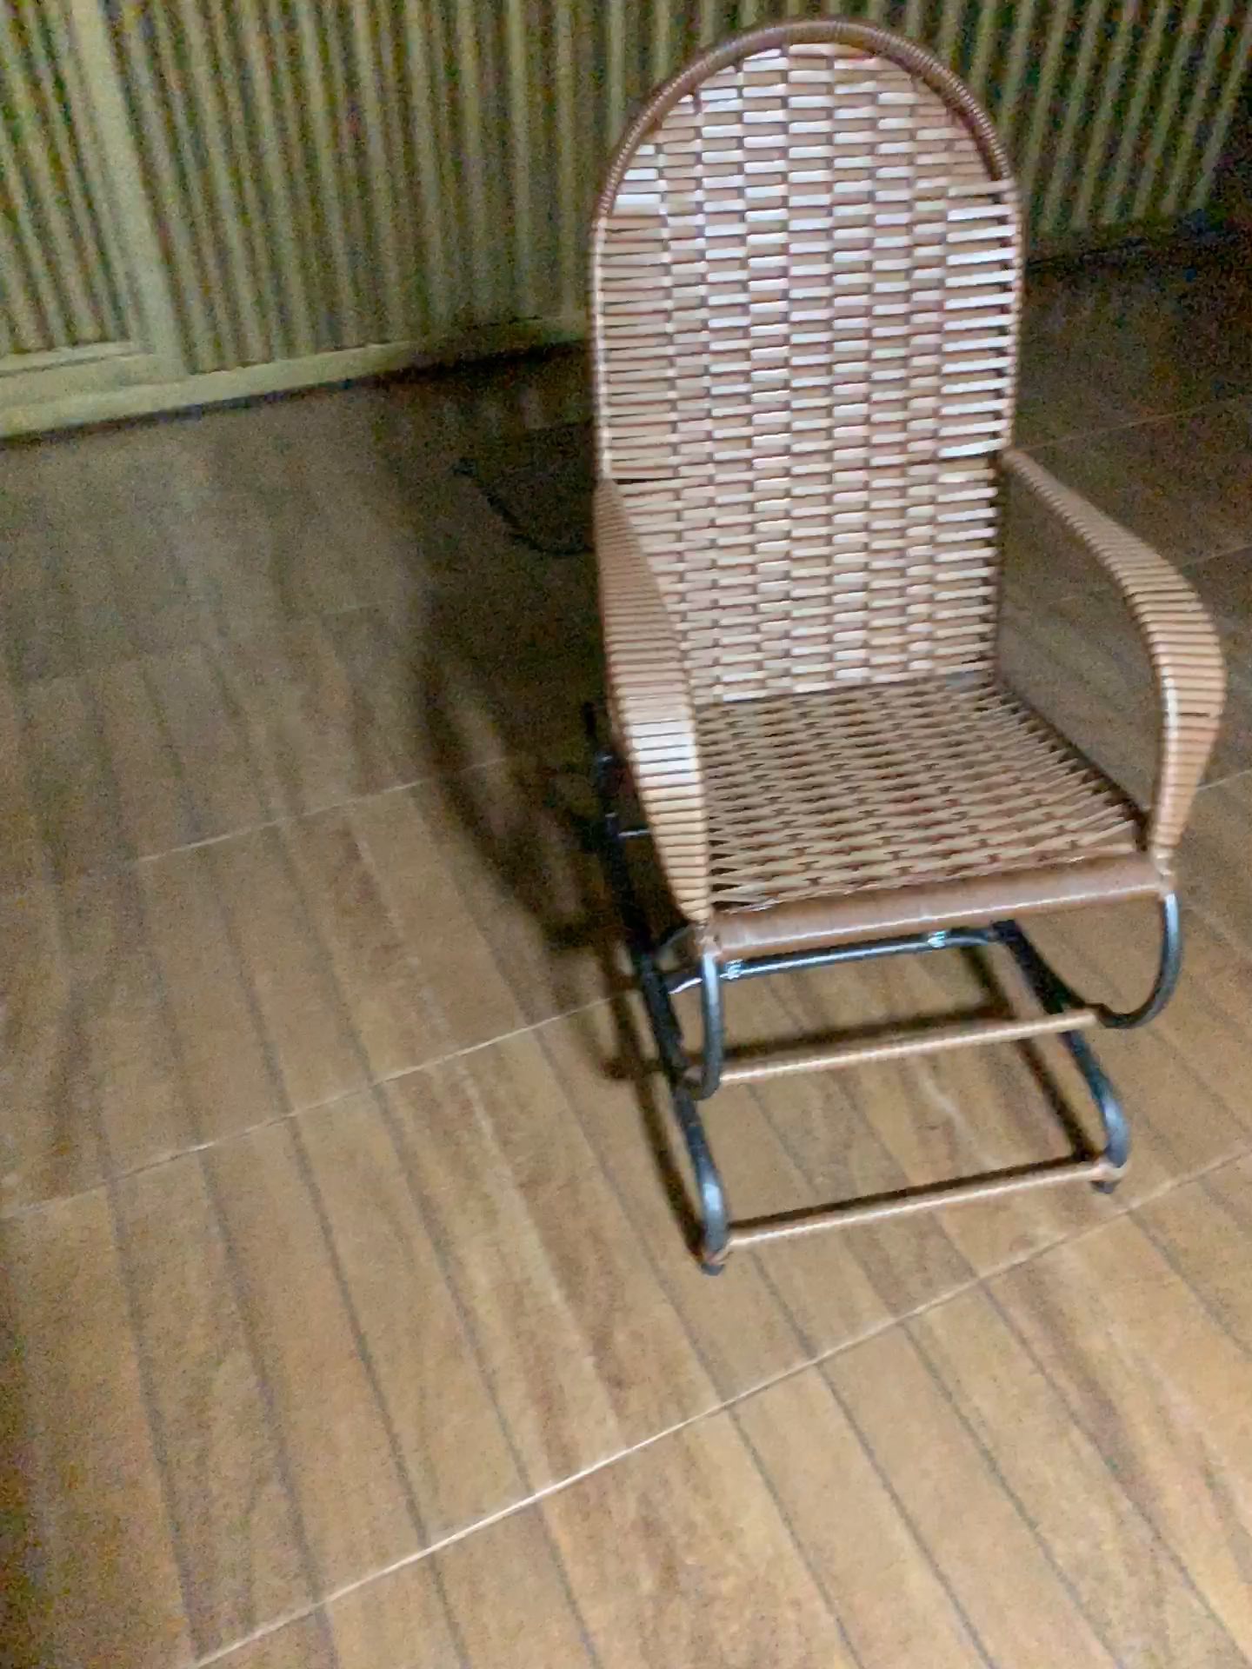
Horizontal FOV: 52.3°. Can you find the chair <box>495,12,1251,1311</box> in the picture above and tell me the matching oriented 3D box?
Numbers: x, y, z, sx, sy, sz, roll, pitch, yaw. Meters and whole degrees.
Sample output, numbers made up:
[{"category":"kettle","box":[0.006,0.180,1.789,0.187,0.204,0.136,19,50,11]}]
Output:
[{"category":"chair","box":[0.237,-0.172,1.355,0.599,1.050,0.787,-7,43,-9]}]
